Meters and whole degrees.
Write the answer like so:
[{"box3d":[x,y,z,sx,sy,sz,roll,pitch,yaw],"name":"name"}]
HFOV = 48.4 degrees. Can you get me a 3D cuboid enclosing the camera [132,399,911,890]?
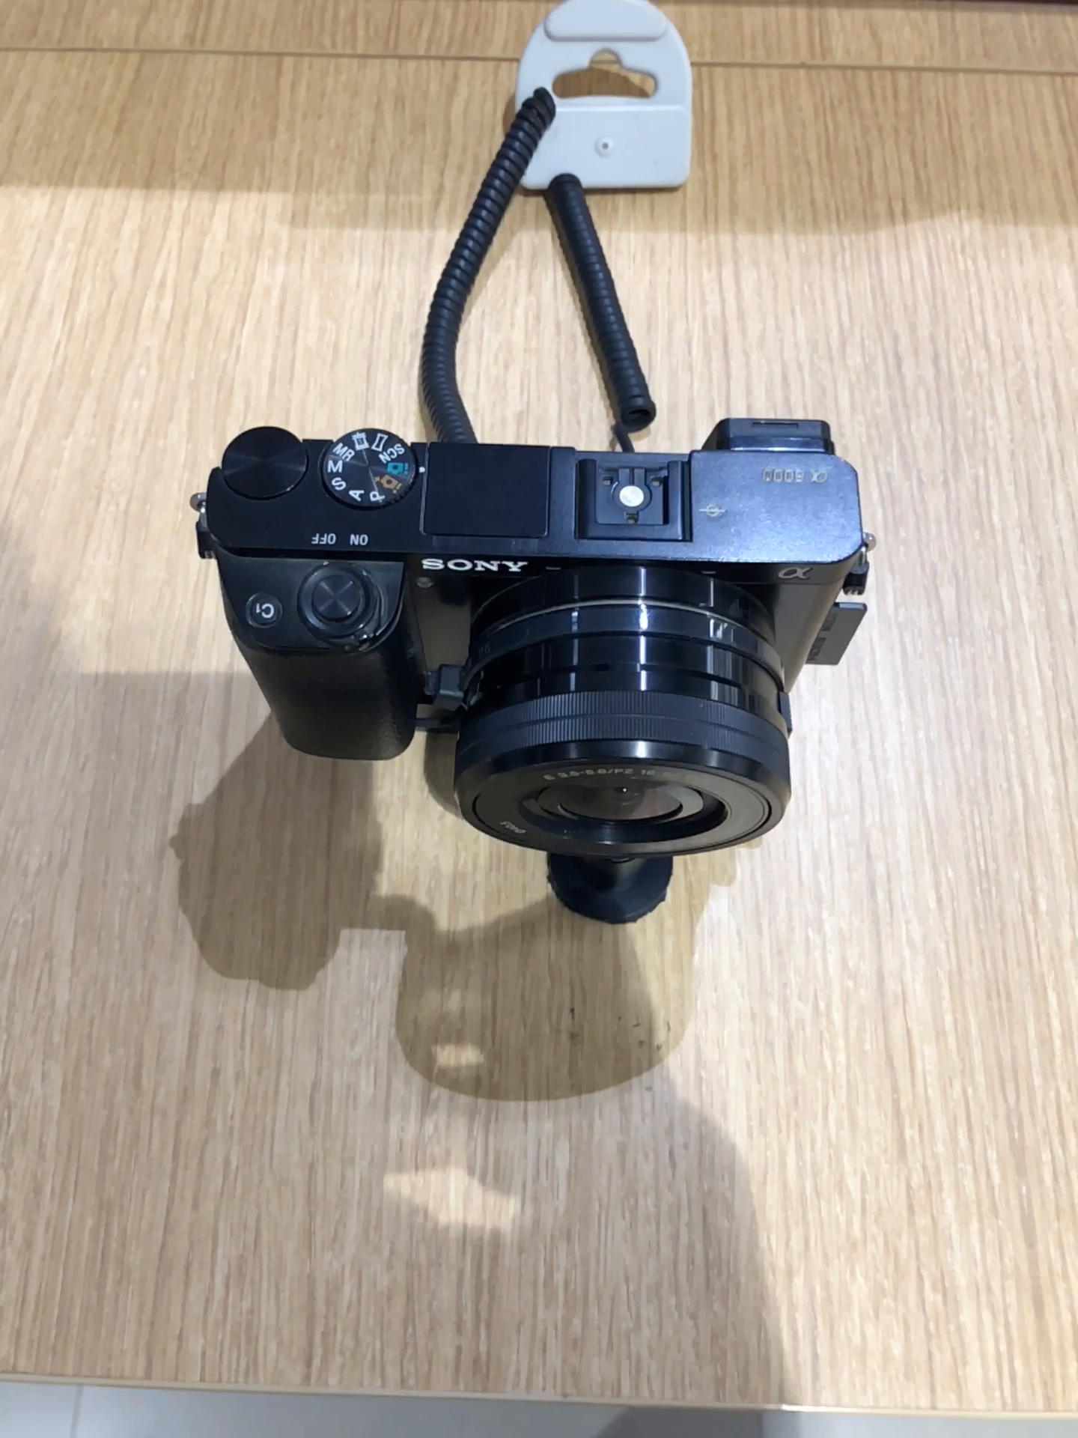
[{"box3d":[-0.002,-0.009,0.209,0.107,0.070,0.059,1,66,0],"name":"camera"}]
